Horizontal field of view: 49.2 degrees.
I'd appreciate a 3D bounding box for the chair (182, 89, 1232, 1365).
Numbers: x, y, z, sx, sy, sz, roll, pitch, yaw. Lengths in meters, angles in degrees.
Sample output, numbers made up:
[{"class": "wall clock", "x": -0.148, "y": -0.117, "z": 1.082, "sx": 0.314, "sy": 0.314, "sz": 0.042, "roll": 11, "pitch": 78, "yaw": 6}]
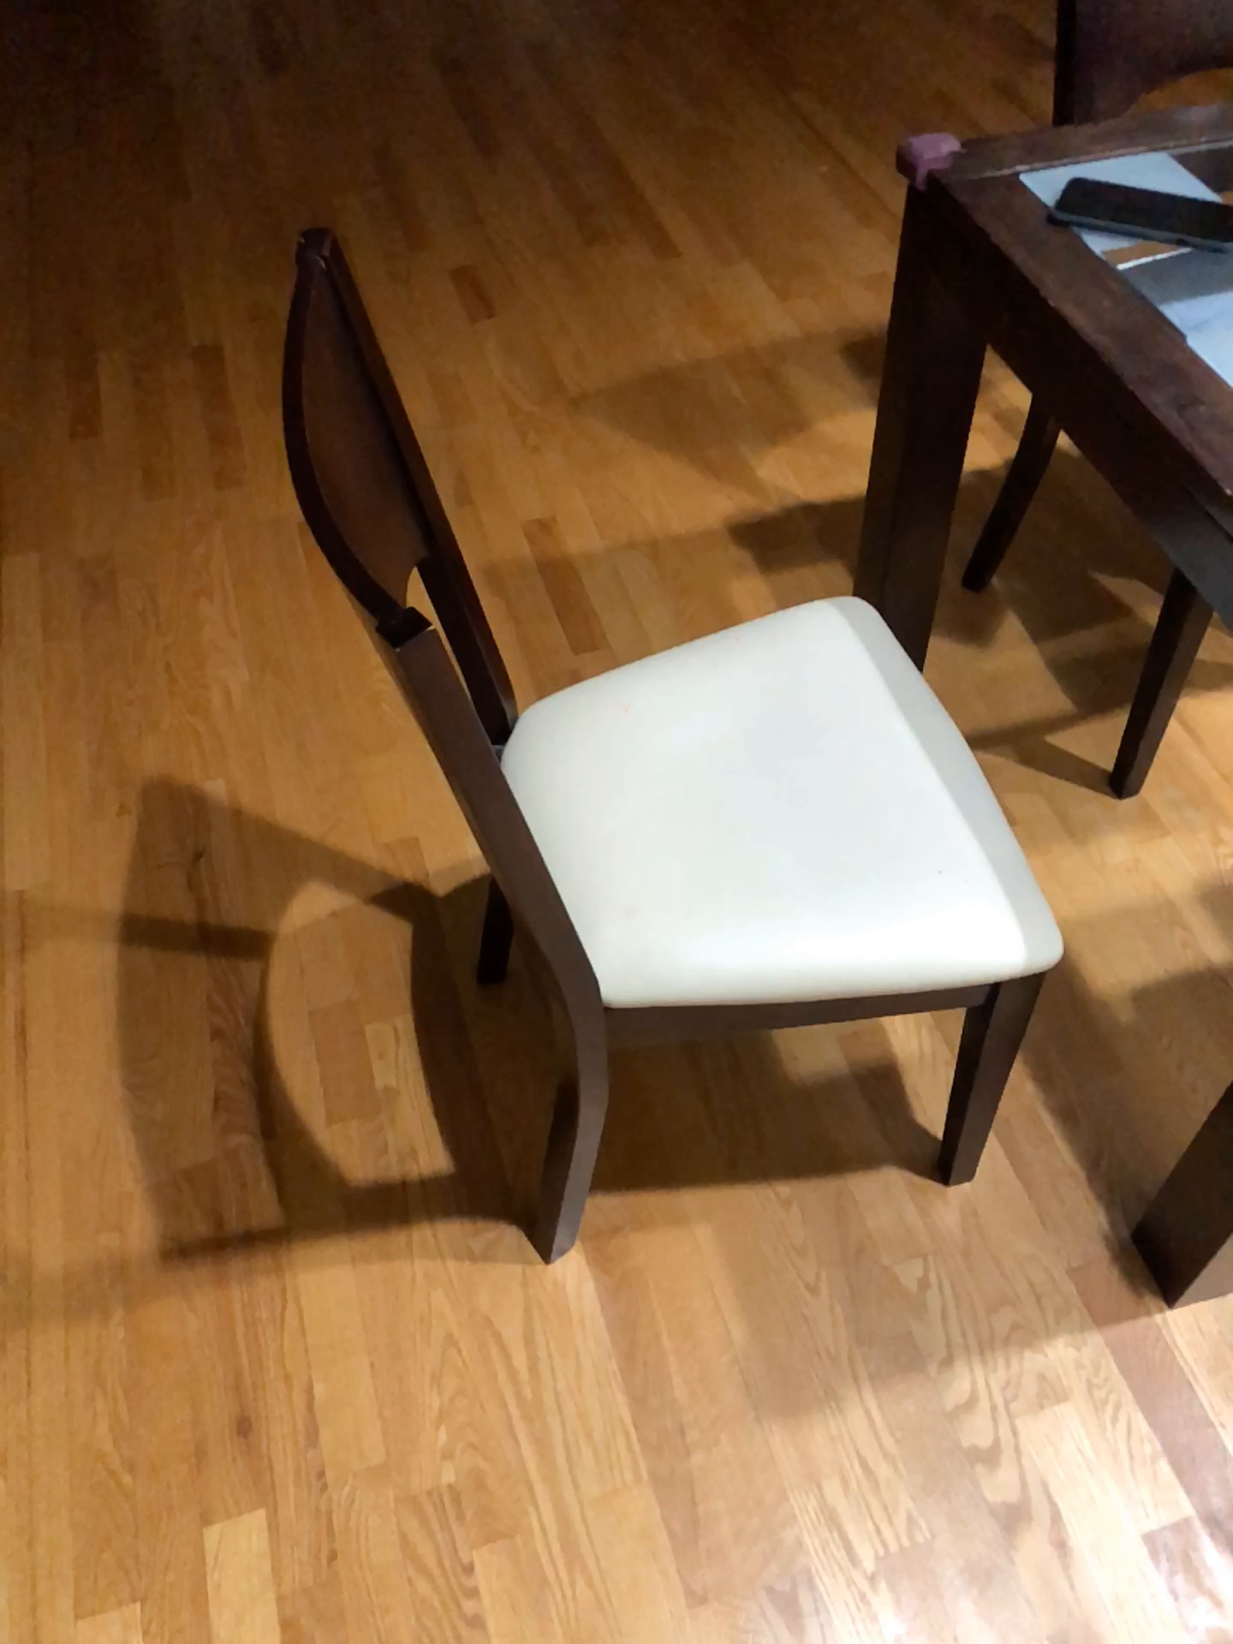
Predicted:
[{"class": "chair", "x": 0.076, "y": -0.013, "z": 1.265, "sx": 0.640, "sy": 1.005, "sz": 0.502, "roll": -15, "pitch": 50, "yaw": -11}]
